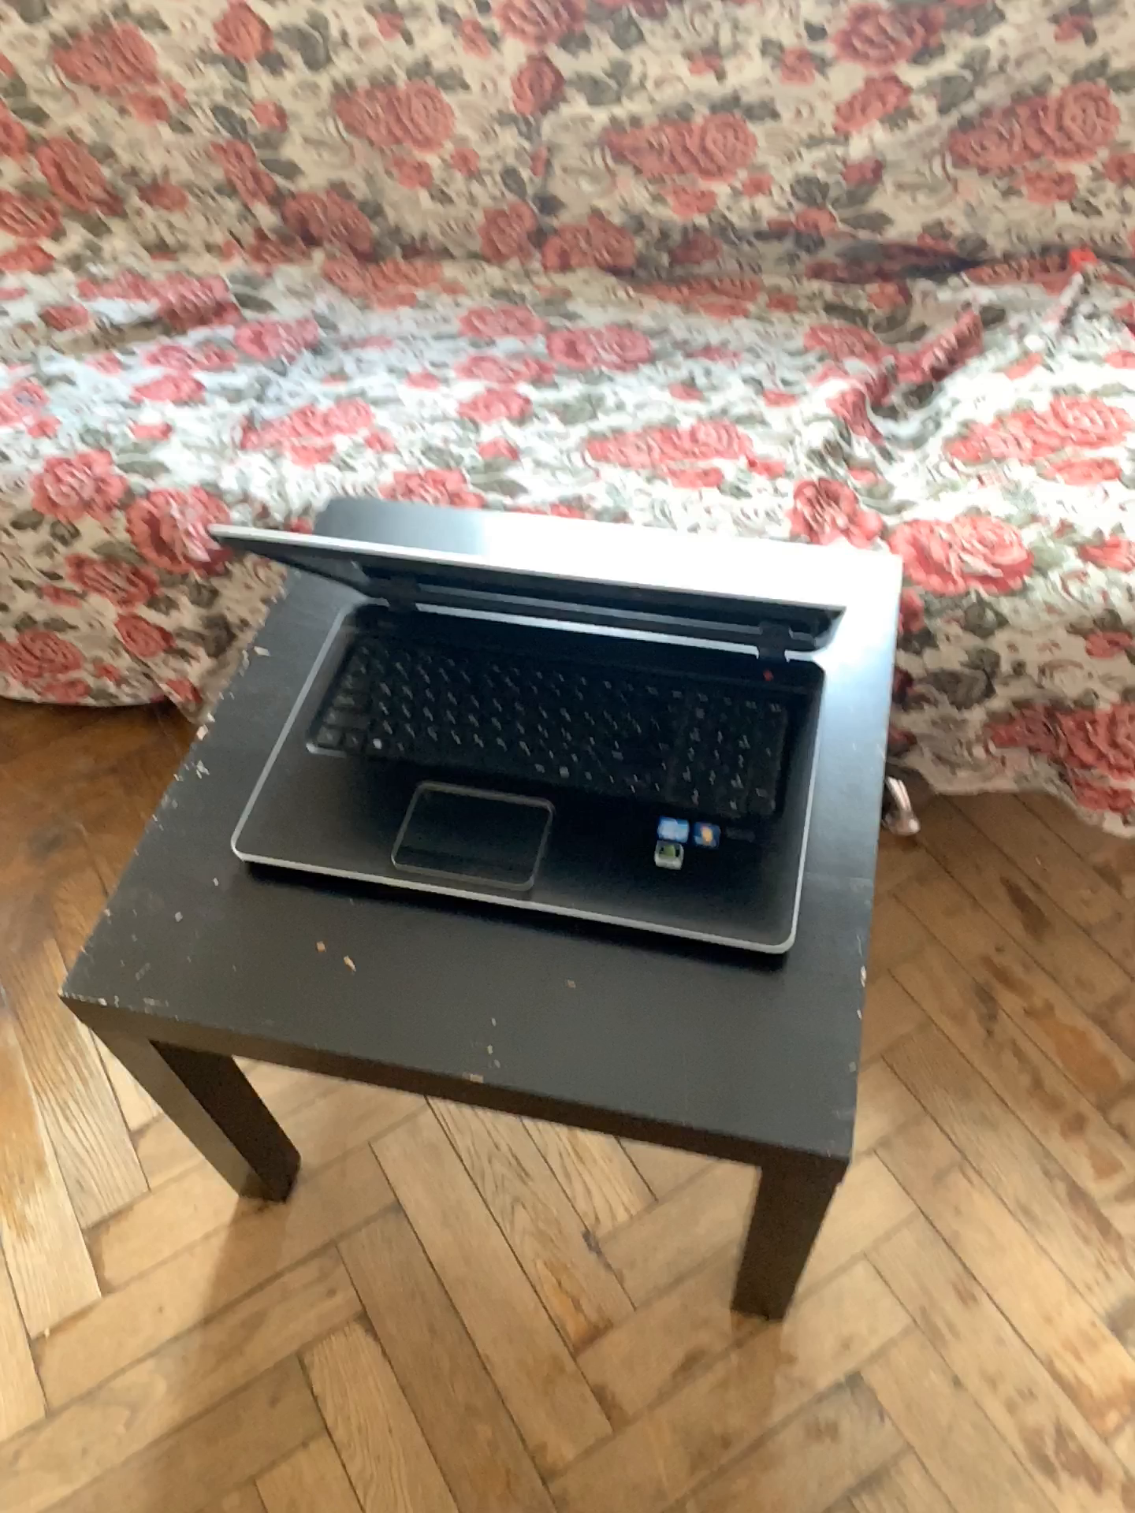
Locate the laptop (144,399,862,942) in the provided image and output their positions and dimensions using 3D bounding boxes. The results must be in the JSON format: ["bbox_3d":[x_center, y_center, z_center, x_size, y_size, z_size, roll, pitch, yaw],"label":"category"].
[{"bbox_3d":[-0.024,-0.068,0.814,0.404,0.201,0.258,9,53,10],"label":"laptop"}]
